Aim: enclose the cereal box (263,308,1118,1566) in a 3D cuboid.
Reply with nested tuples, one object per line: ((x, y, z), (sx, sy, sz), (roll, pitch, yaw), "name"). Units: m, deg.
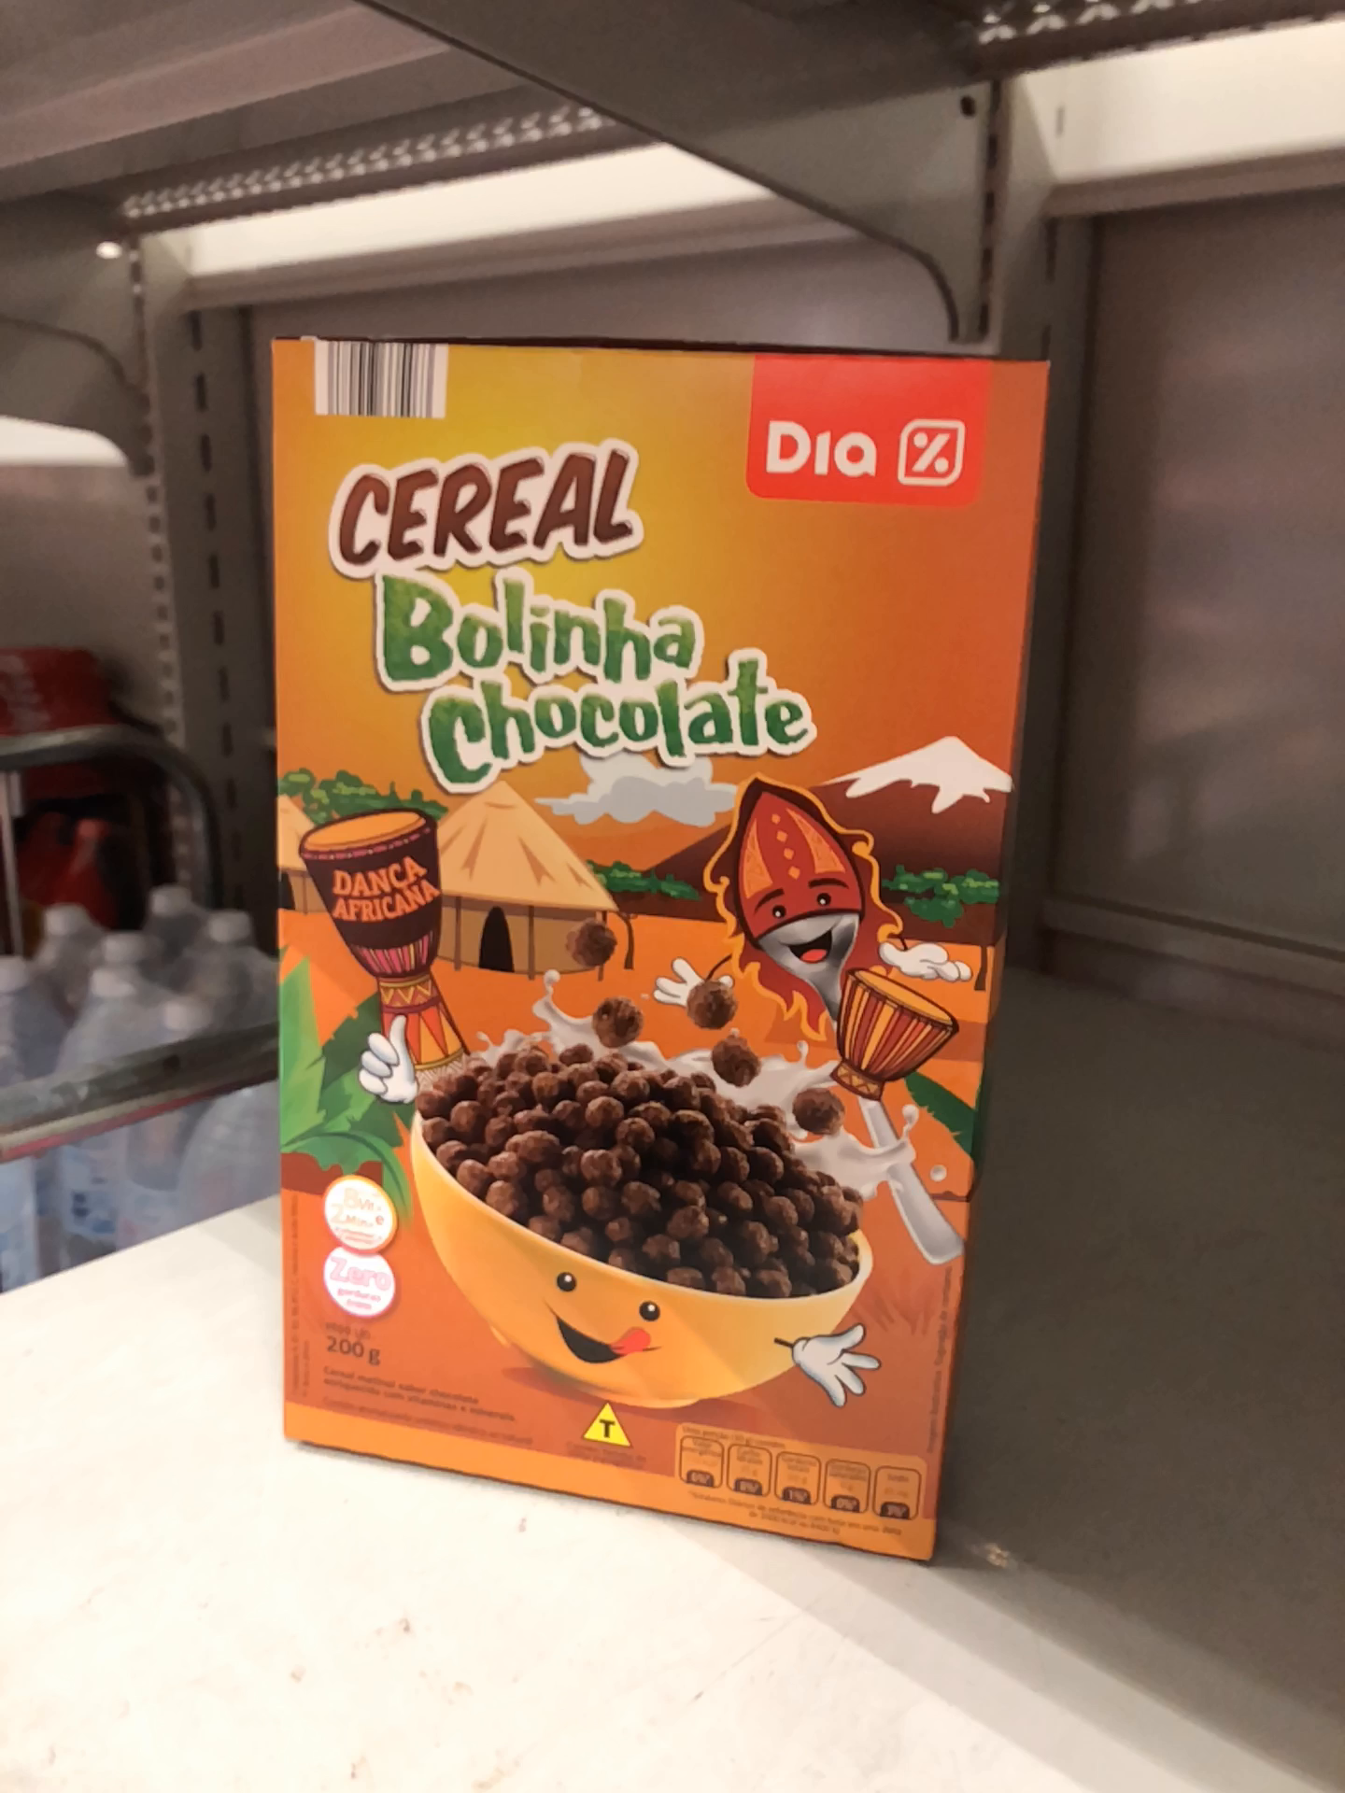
((-0.002, 0.007, 0.353), (0.170, 0.259, 0.060), (6, 12, 11), "cereal box")
